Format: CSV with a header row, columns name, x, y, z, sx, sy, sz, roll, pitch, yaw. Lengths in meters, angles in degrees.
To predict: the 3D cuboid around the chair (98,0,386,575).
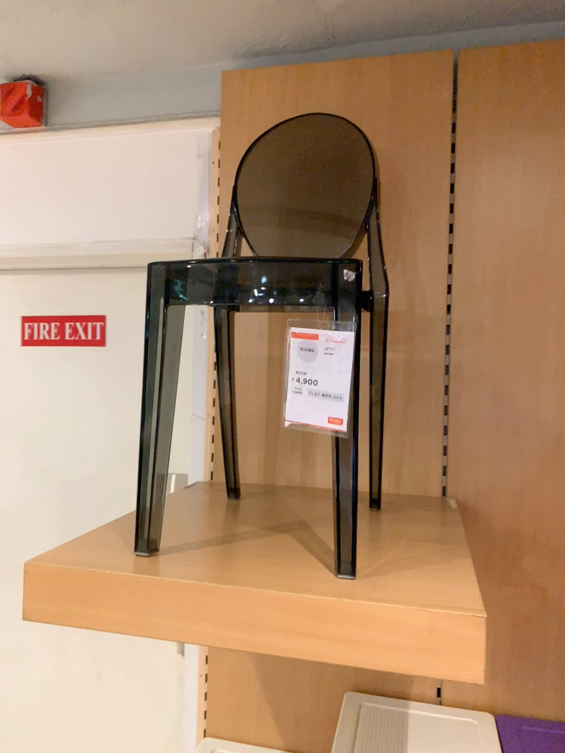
name,x,y,z,sx,sy,sz,roll,pitch,yaw
chair,-0.028,-0.156,1.074,0.400,0.850,0.470,1,0,12
